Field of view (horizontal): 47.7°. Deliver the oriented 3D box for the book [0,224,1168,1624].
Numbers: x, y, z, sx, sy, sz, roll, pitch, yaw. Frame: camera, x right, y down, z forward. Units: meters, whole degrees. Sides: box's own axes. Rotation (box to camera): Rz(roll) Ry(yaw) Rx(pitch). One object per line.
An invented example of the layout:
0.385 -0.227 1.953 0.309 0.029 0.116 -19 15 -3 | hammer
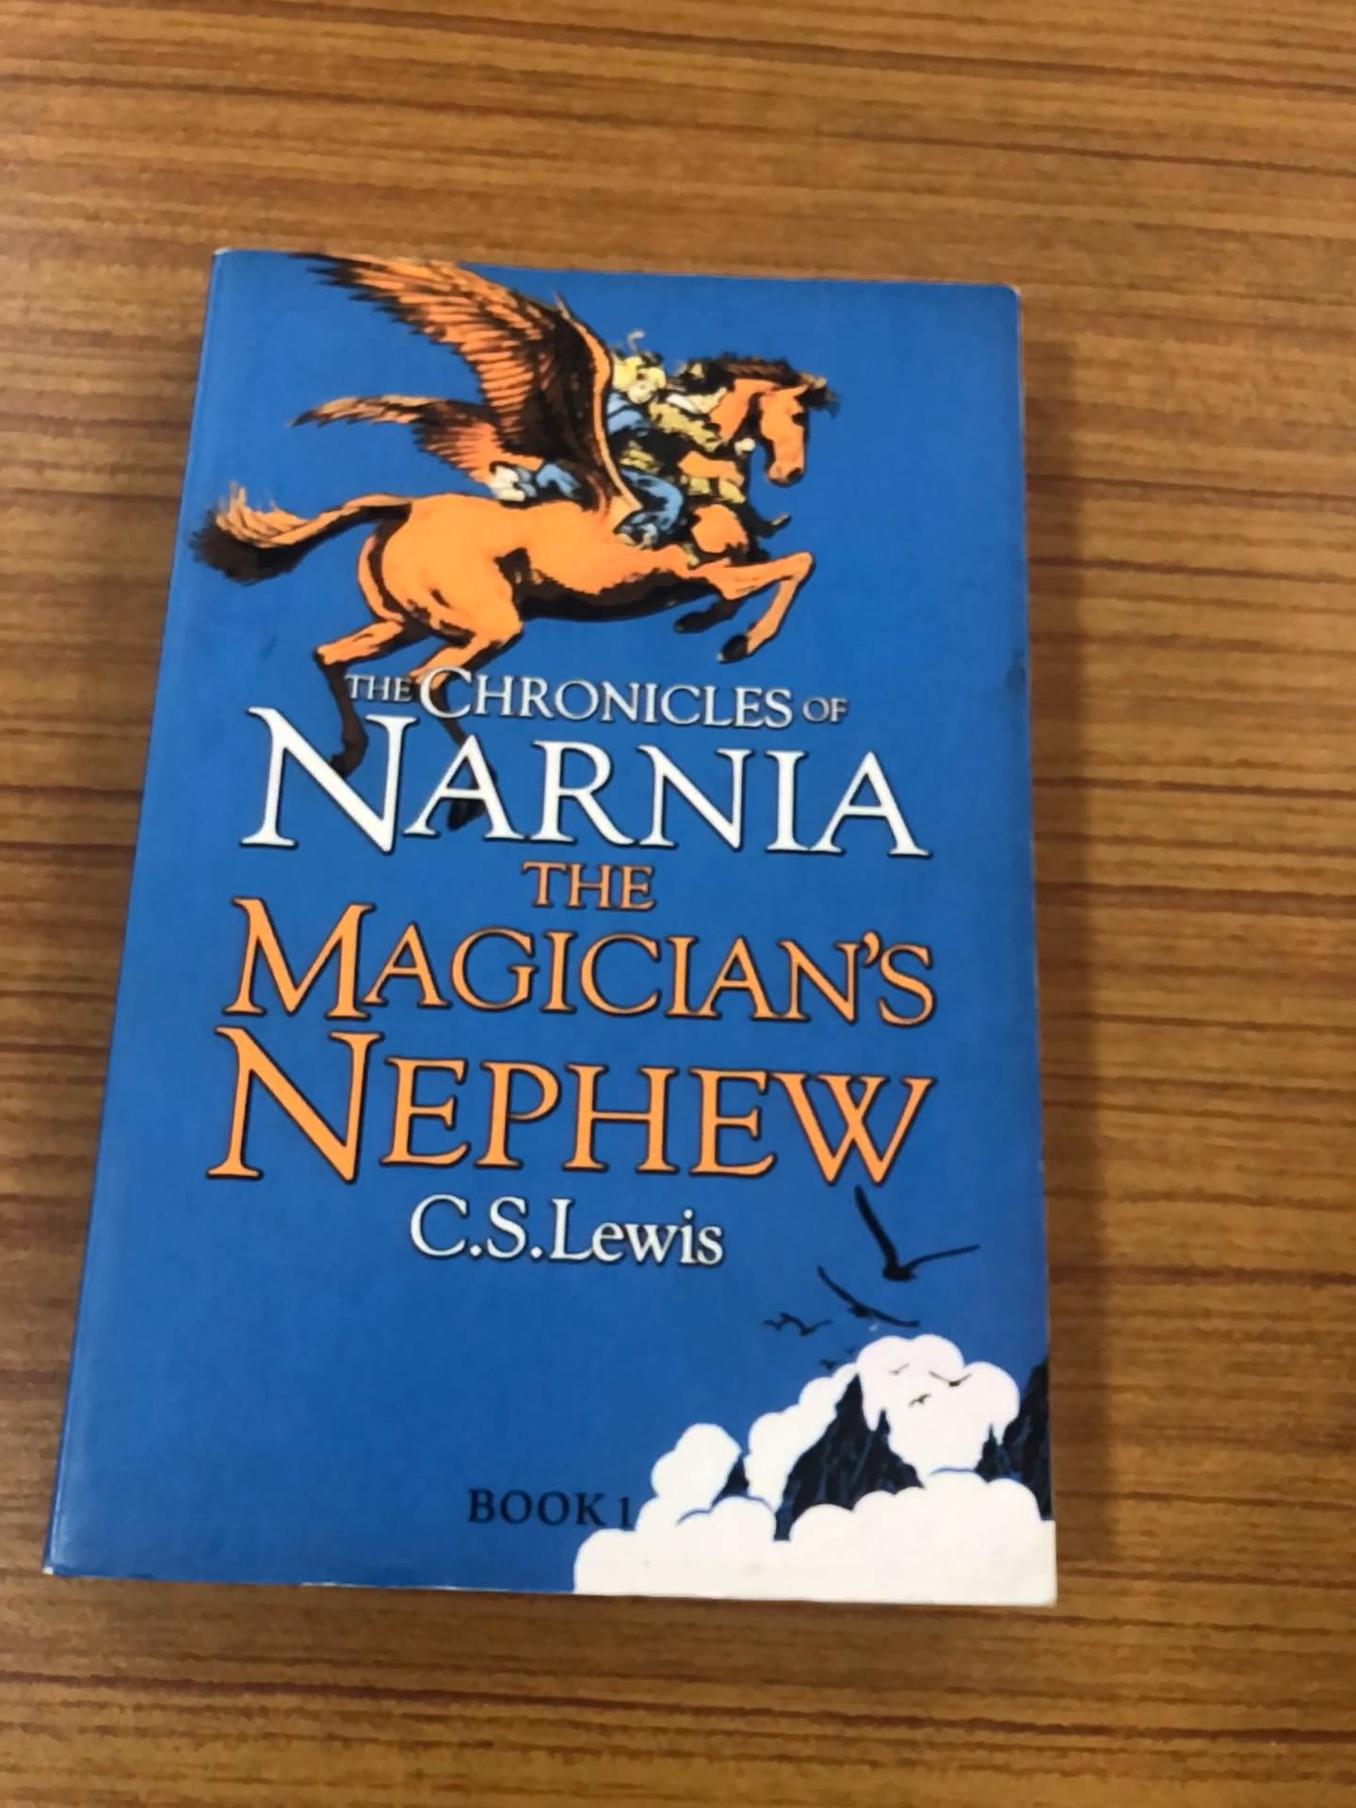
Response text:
-0.008 -0.003 0.222 0.140 0.030 0.190 2 75 -2 | book
